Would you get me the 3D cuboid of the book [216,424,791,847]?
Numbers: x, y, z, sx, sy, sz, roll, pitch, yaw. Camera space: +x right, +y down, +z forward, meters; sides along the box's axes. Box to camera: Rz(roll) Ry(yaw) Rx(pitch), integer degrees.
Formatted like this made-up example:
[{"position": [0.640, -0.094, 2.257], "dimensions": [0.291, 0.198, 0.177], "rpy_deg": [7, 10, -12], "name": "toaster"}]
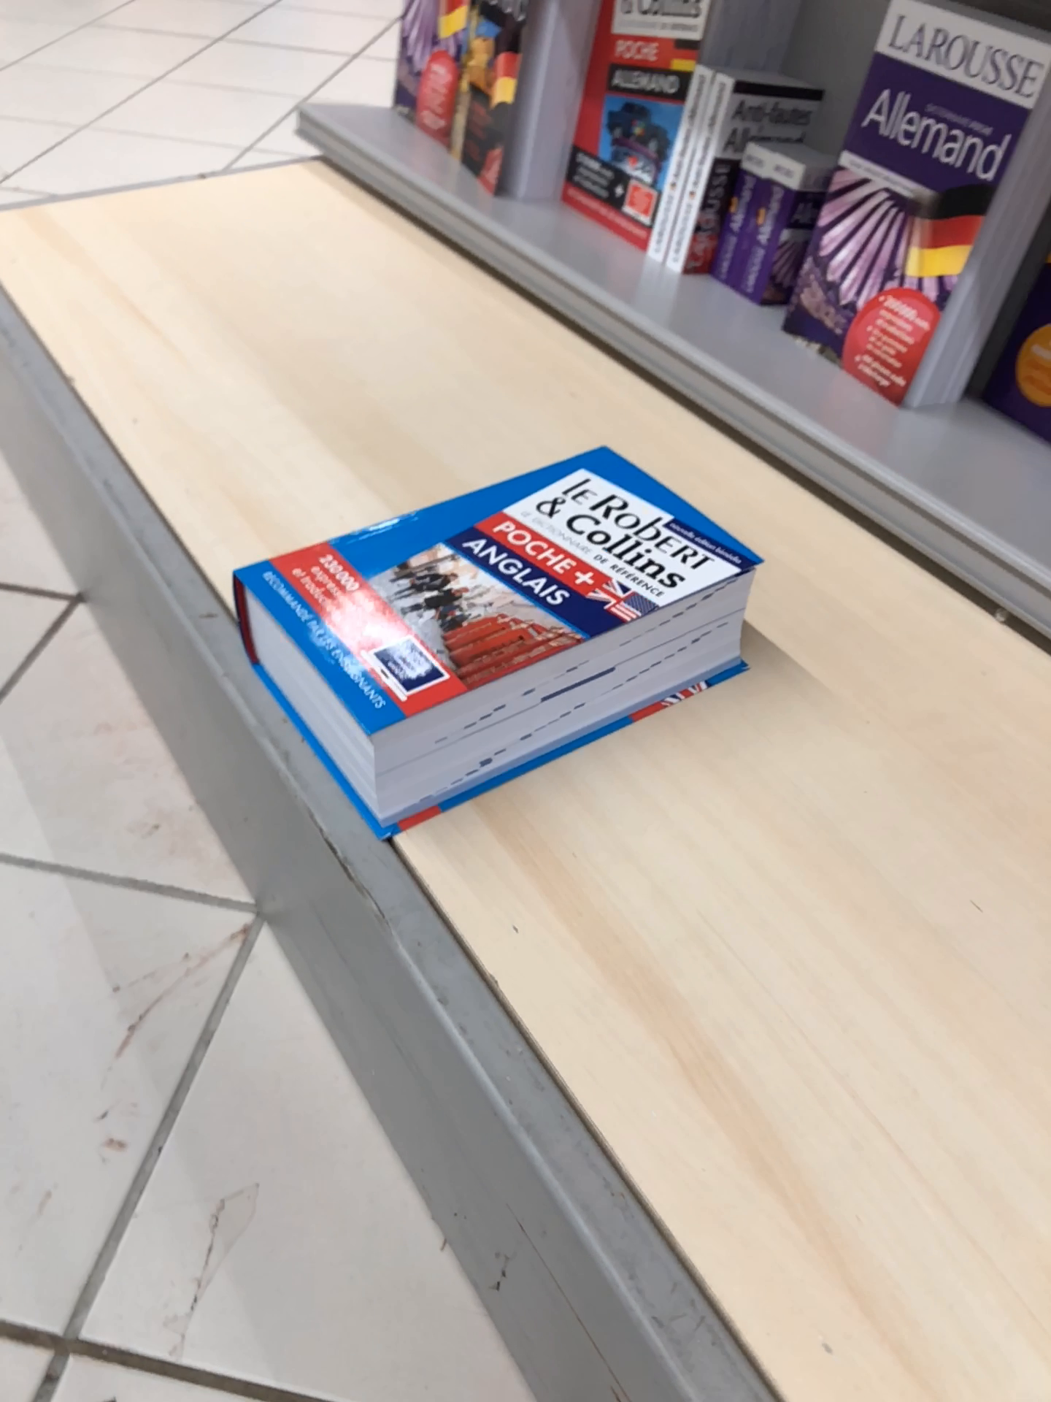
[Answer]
[{"position": [-0.009, -0.037, 0.468], "dimensions": [0.184, 0.051, 0.129], "rpy_deg": [-23, 48, -25], "name": "book"}]
